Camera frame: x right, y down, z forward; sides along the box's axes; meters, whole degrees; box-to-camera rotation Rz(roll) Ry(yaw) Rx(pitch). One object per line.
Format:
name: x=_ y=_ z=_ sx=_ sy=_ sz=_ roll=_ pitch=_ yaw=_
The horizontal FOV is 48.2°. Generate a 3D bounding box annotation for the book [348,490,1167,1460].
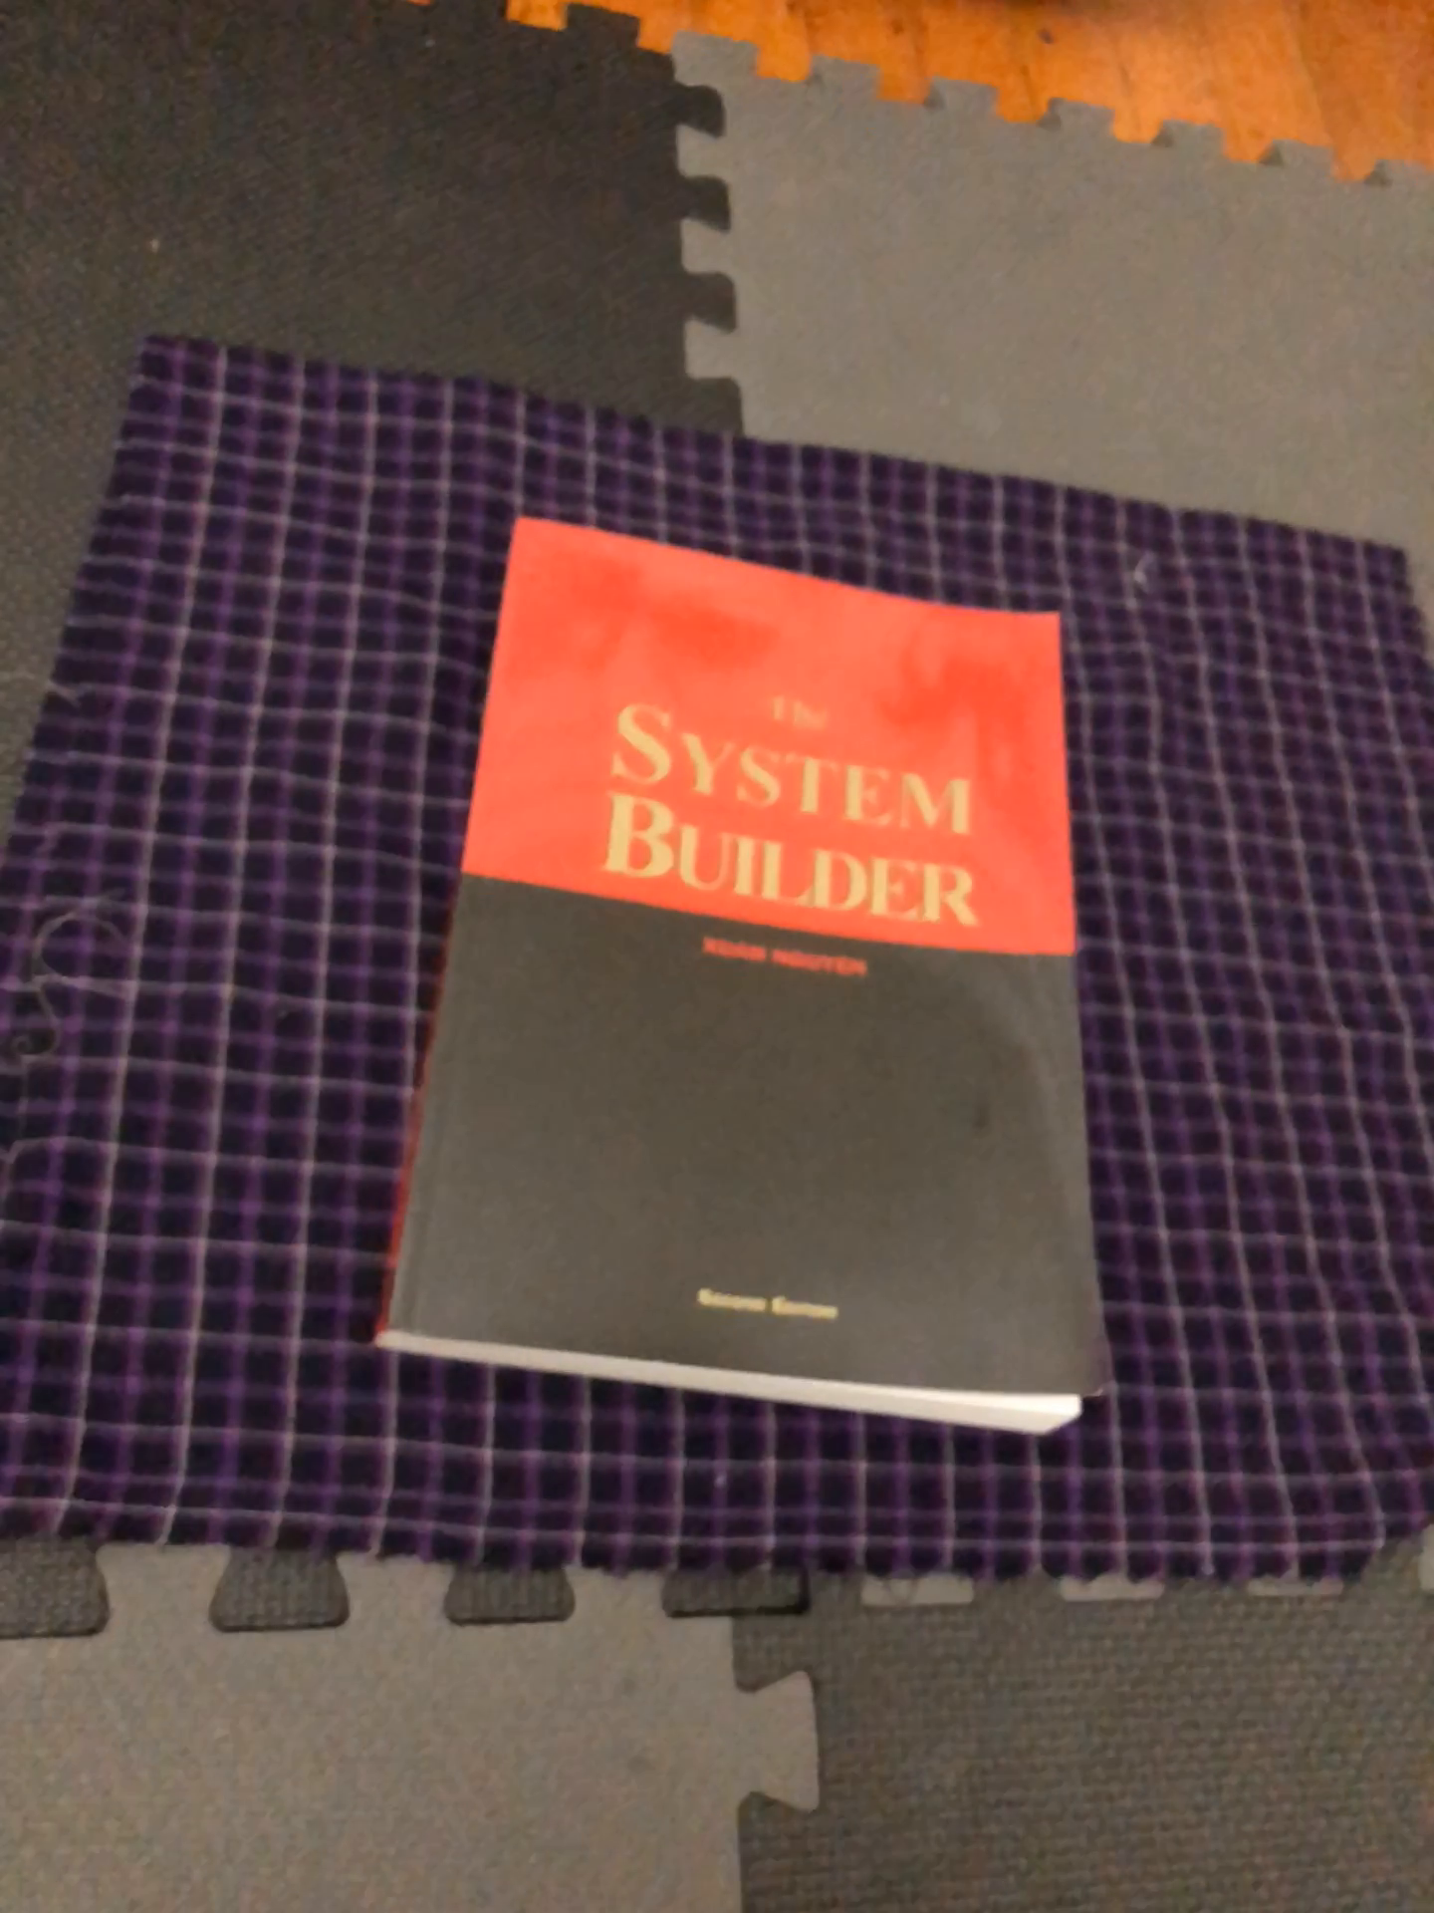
book: x=0.019 y=-0.004 z=0.454 sx=0.200 sy=0.030 sz=0.261 roll=9 pitch=62 yaw=-9
